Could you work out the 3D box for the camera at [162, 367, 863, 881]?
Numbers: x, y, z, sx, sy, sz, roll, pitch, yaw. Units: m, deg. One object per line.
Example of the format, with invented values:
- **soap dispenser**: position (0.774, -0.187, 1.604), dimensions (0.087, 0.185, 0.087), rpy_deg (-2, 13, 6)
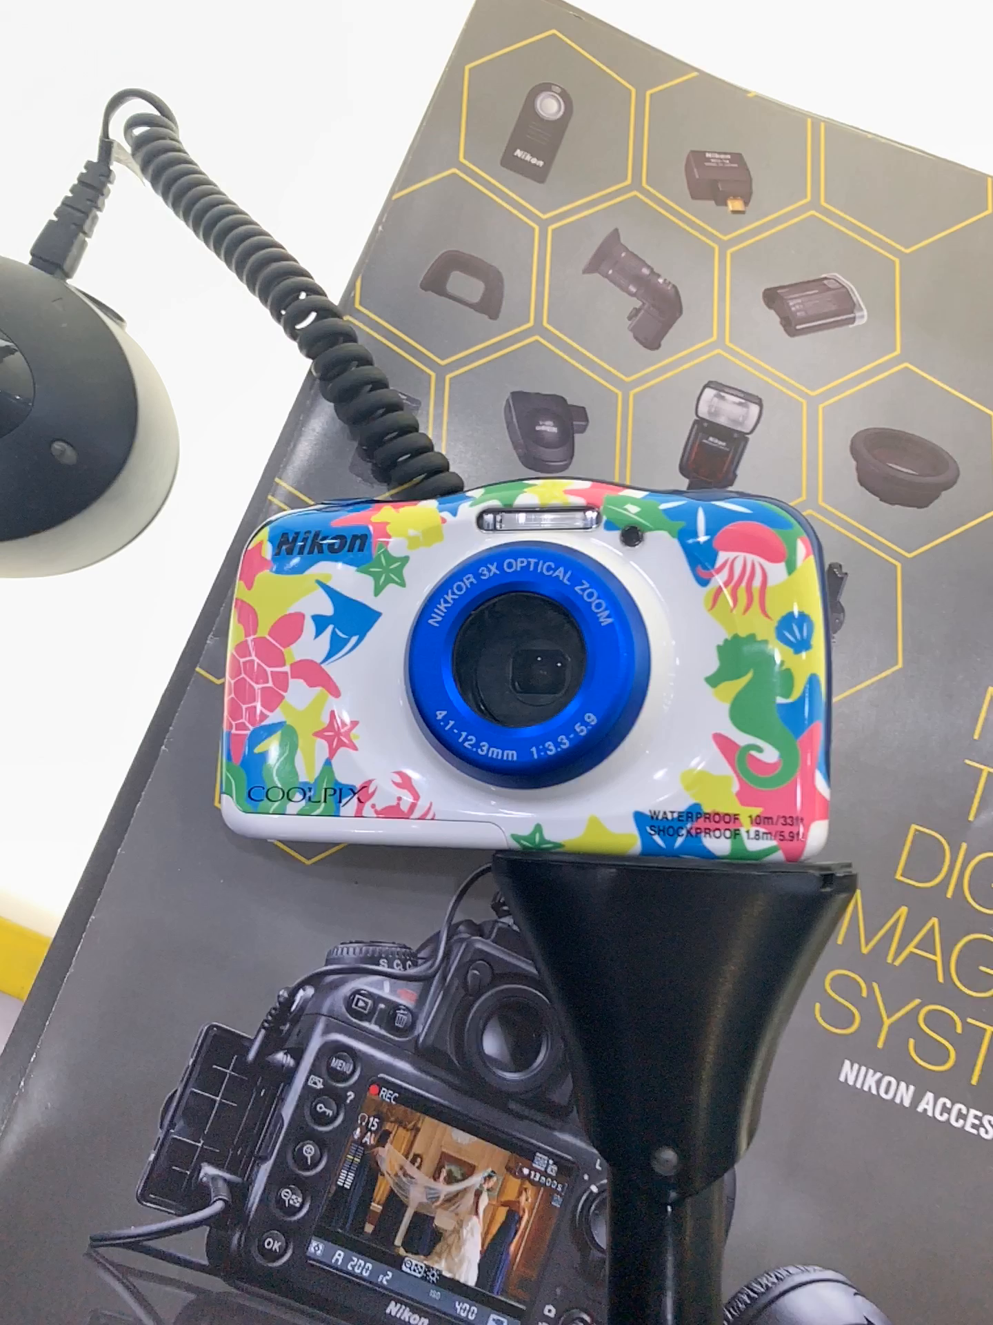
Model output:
- **camera**: position (0.003, -0.005, 0.183), dimensions (0.110, 0.030, 0.080), rpy_deg (0, 77, 12)
